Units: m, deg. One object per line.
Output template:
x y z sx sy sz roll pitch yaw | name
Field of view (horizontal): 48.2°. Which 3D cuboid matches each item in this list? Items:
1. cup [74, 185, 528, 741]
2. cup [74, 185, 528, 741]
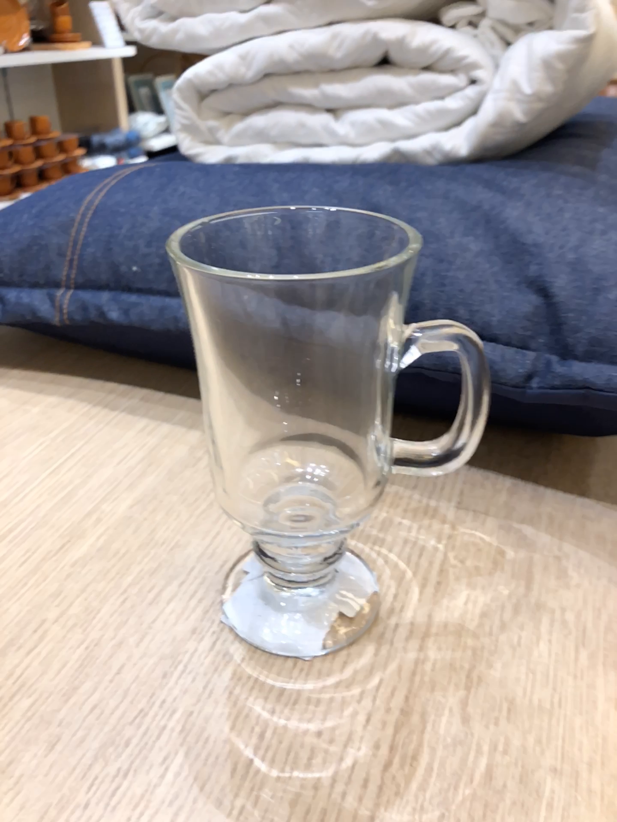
0.006 0.012 0.235 0.110 0.149 0.091 8 30 13 | cup
0.006 0.012 0.235 0.110 0.149 0.091 8 30 13 | cup
